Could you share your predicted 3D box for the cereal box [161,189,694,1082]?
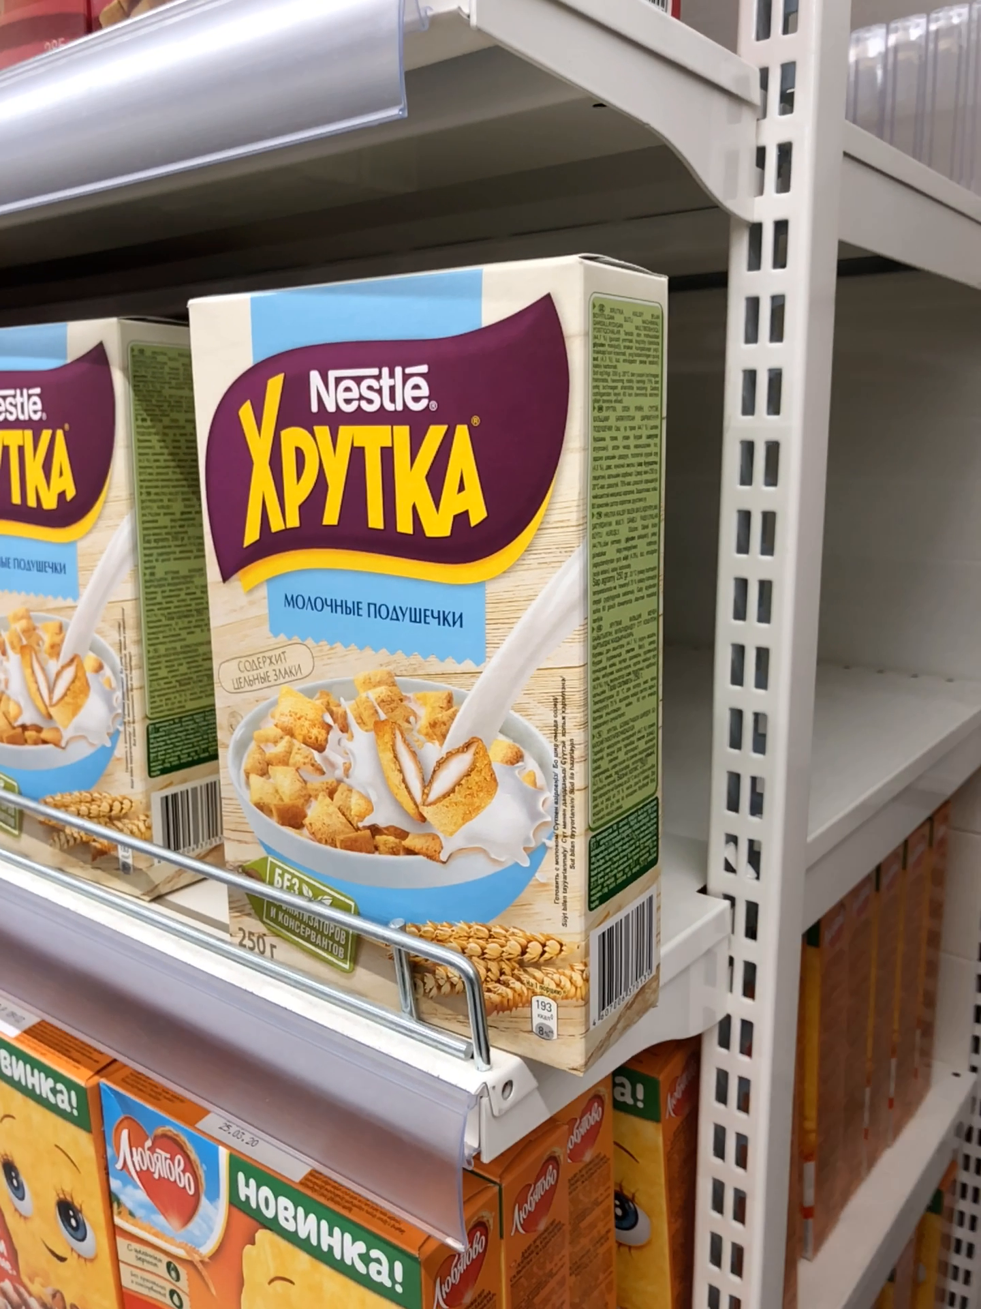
[{"bbox_3d":[-0.022,-0.008,0.326,0.150,0.219,0.050,7,13,34],"label":"cereal box"}]
